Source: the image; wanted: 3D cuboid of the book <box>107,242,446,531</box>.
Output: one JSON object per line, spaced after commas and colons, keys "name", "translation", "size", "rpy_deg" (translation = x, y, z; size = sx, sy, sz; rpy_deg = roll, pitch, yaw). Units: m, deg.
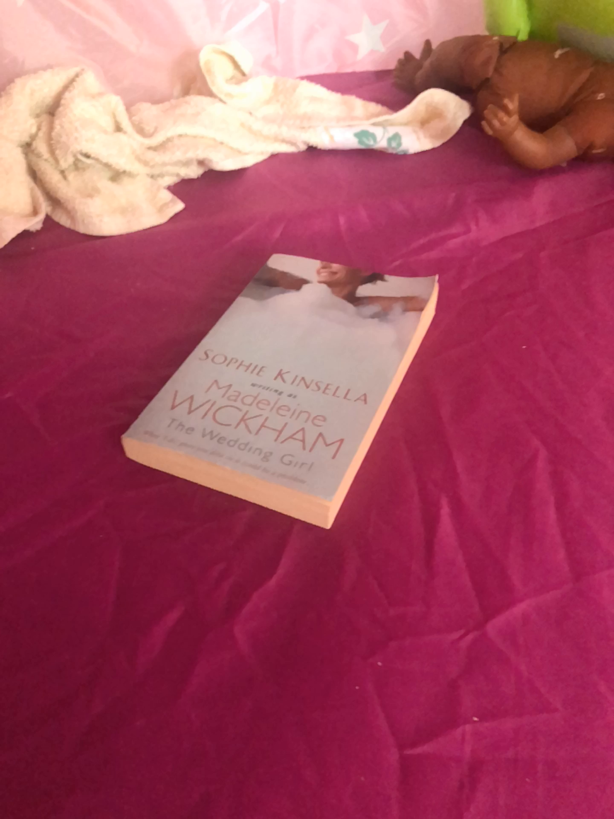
{"name": "book", "translation": [-0.008, -0.031, 0.428], "size": [0.135, 0.027, 0.203], "rpy_deg": [17, 48, 18]}
